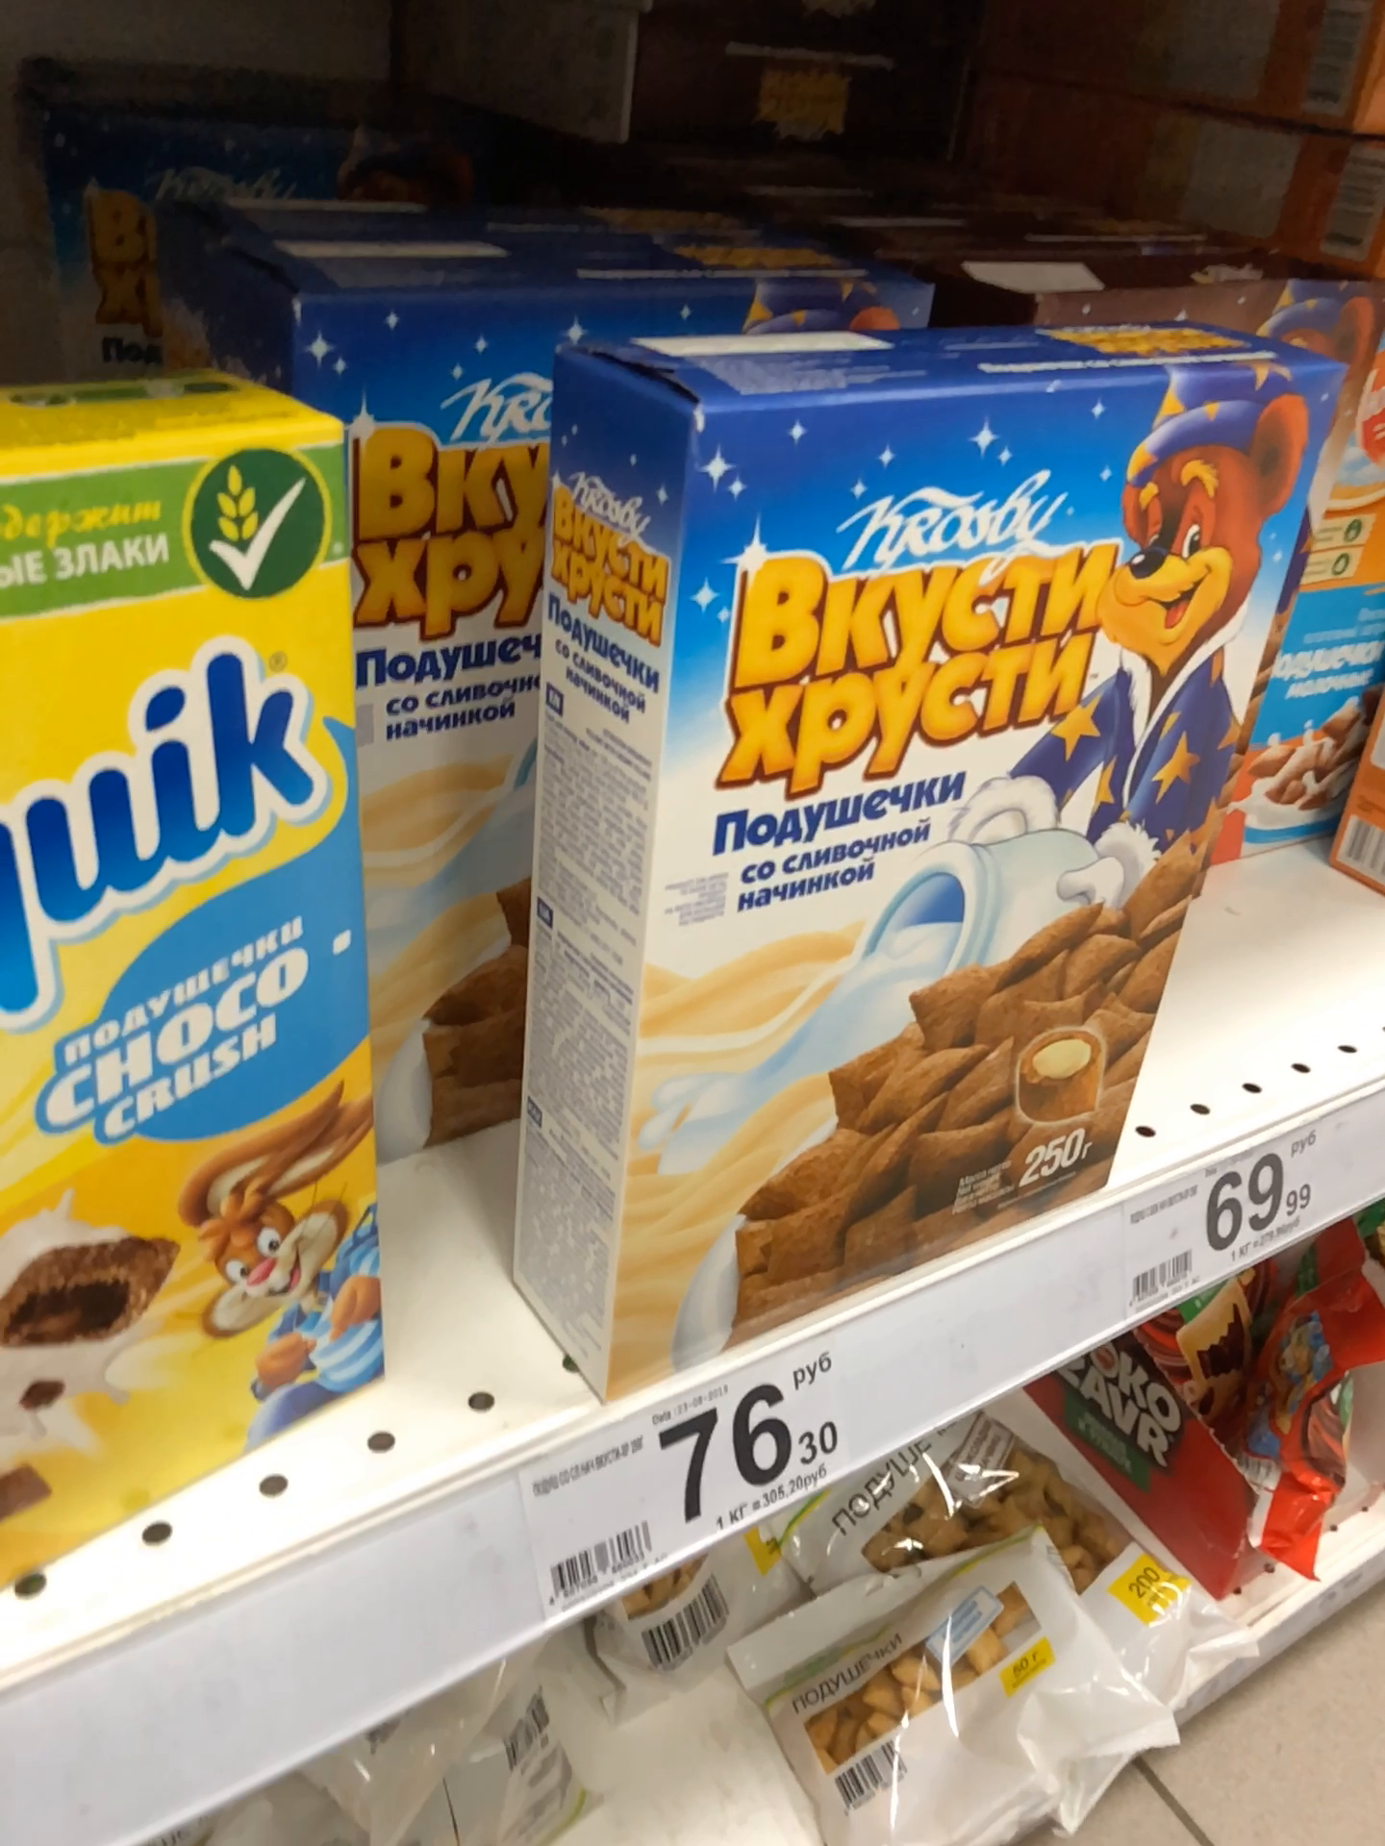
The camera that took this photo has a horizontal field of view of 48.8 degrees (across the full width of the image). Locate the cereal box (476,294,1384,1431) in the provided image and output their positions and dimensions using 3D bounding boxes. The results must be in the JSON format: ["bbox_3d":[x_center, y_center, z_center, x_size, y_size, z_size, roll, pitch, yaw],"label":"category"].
[{"bbox_3d":[0.050,-0.017,0.350,0.190,0.229,0.050,-15,37,-31],"label":"cereal box"}]
